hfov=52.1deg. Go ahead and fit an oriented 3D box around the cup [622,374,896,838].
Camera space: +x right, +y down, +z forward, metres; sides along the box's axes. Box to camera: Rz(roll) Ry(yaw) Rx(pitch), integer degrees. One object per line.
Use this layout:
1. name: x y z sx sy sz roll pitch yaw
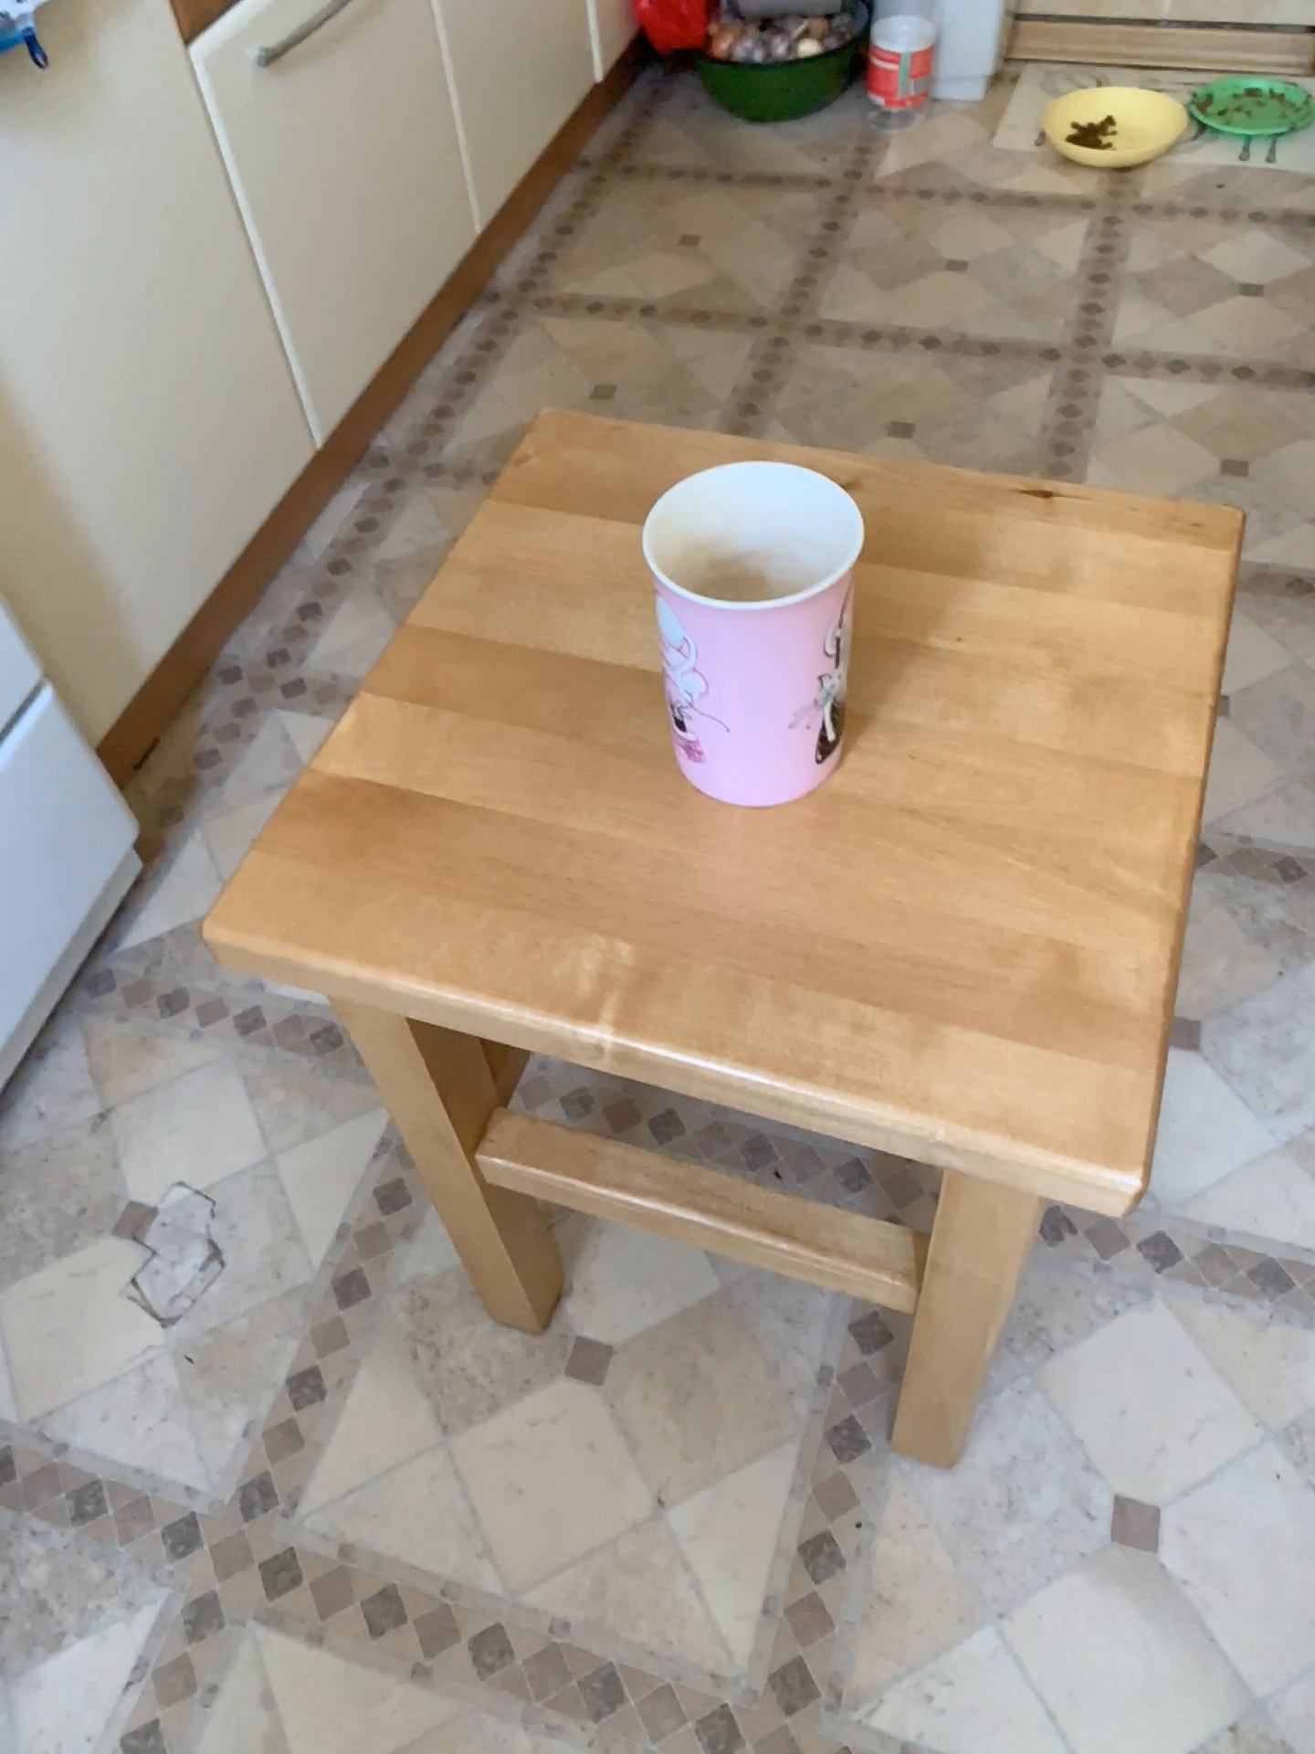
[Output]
1. cup: 0.034 -0.096 0.485 0.074 0.107 0.114 -7 52 0
